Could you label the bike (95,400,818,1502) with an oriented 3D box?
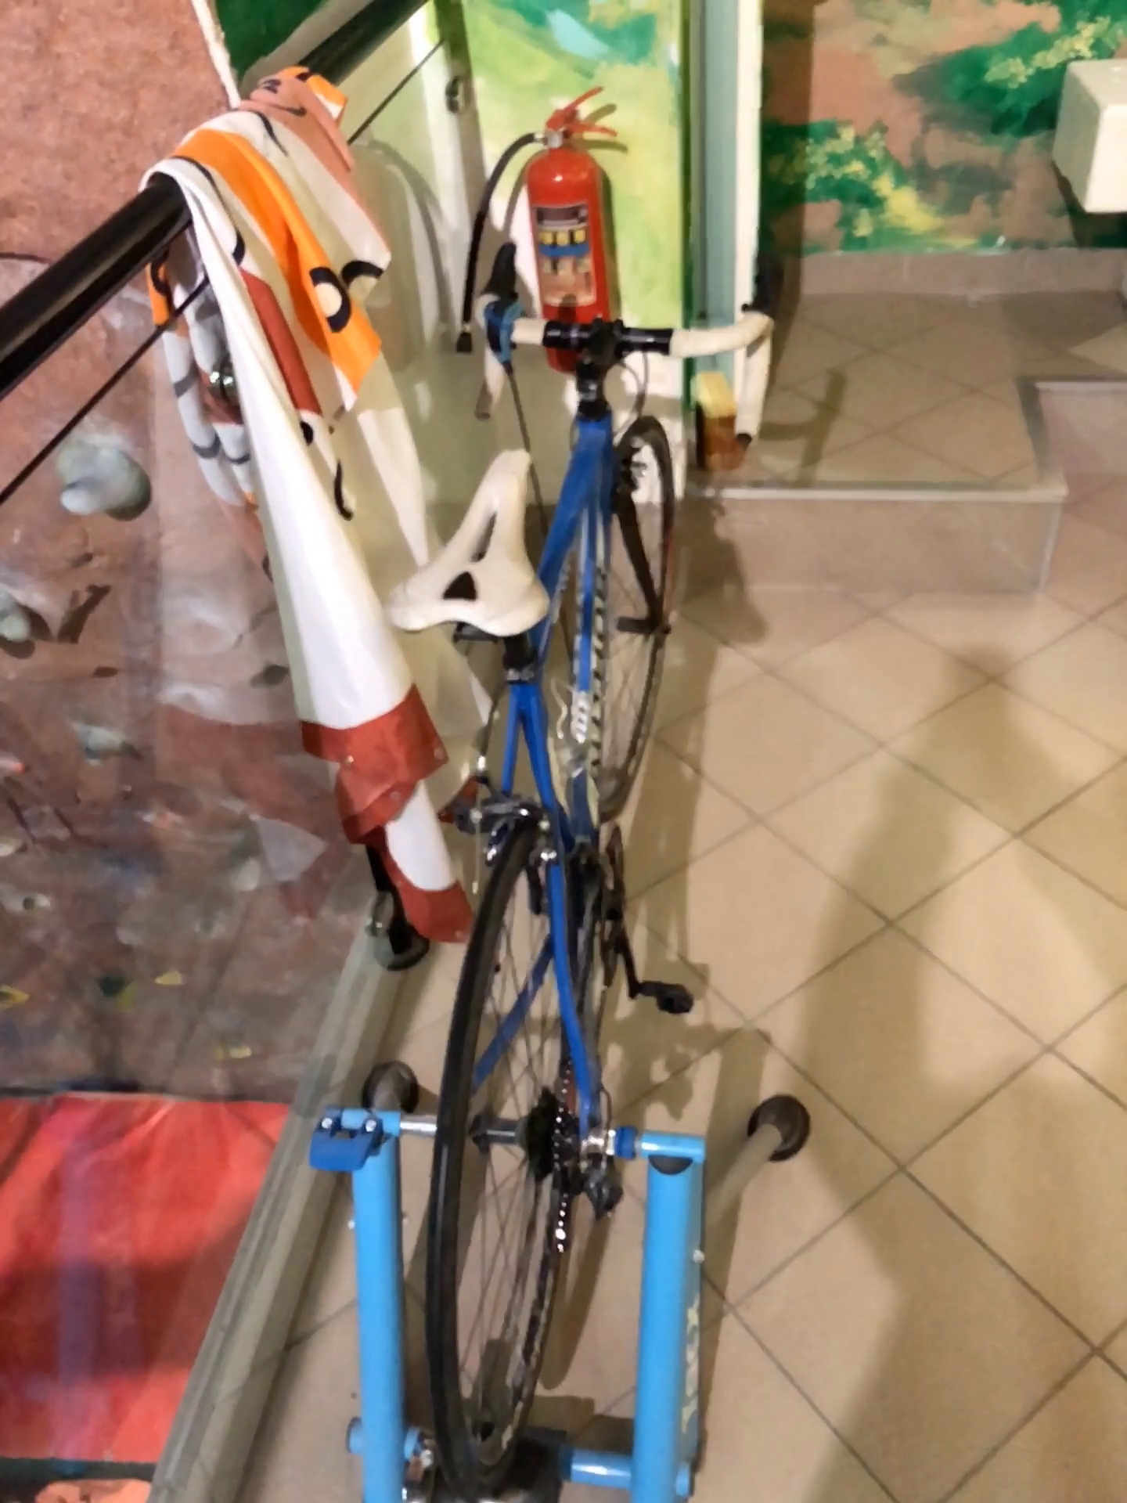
[{"bbox_3d":[0.072,0.128,1.665,0.465,0.683,1.560,3,37,11],"label":"bike"}]
